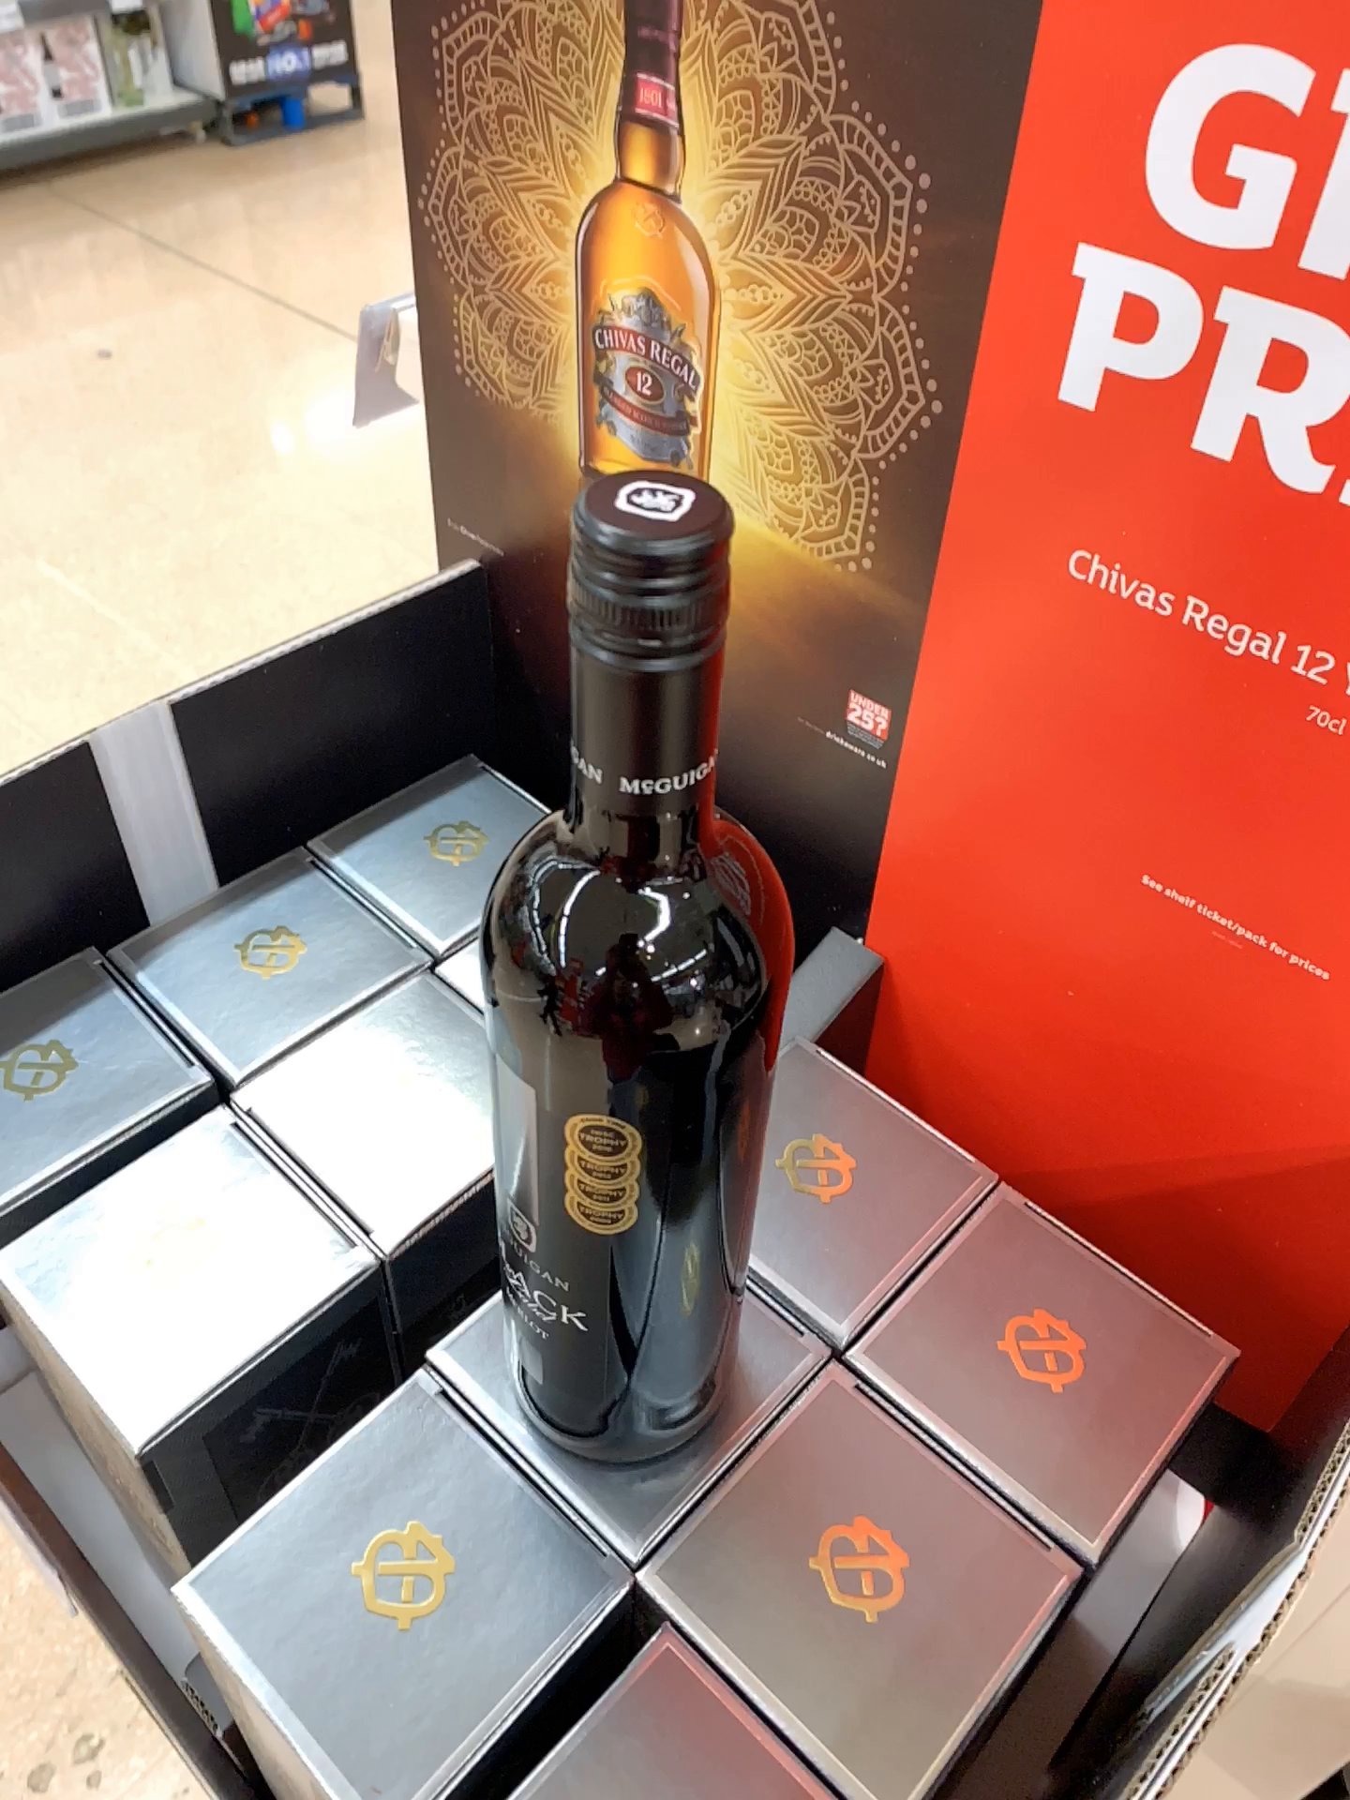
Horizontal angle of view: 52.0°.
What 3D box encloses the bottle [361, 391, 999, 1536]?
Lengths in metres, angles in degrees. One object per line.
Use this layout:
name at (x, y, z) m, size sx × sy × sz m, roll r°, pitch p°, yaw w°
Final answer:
bottle at (-0.005, 0.041, 0.327) m, size 0.080 × 0.287 × 0.070 m, roll -22°, pitch 49°, yaw -24°
